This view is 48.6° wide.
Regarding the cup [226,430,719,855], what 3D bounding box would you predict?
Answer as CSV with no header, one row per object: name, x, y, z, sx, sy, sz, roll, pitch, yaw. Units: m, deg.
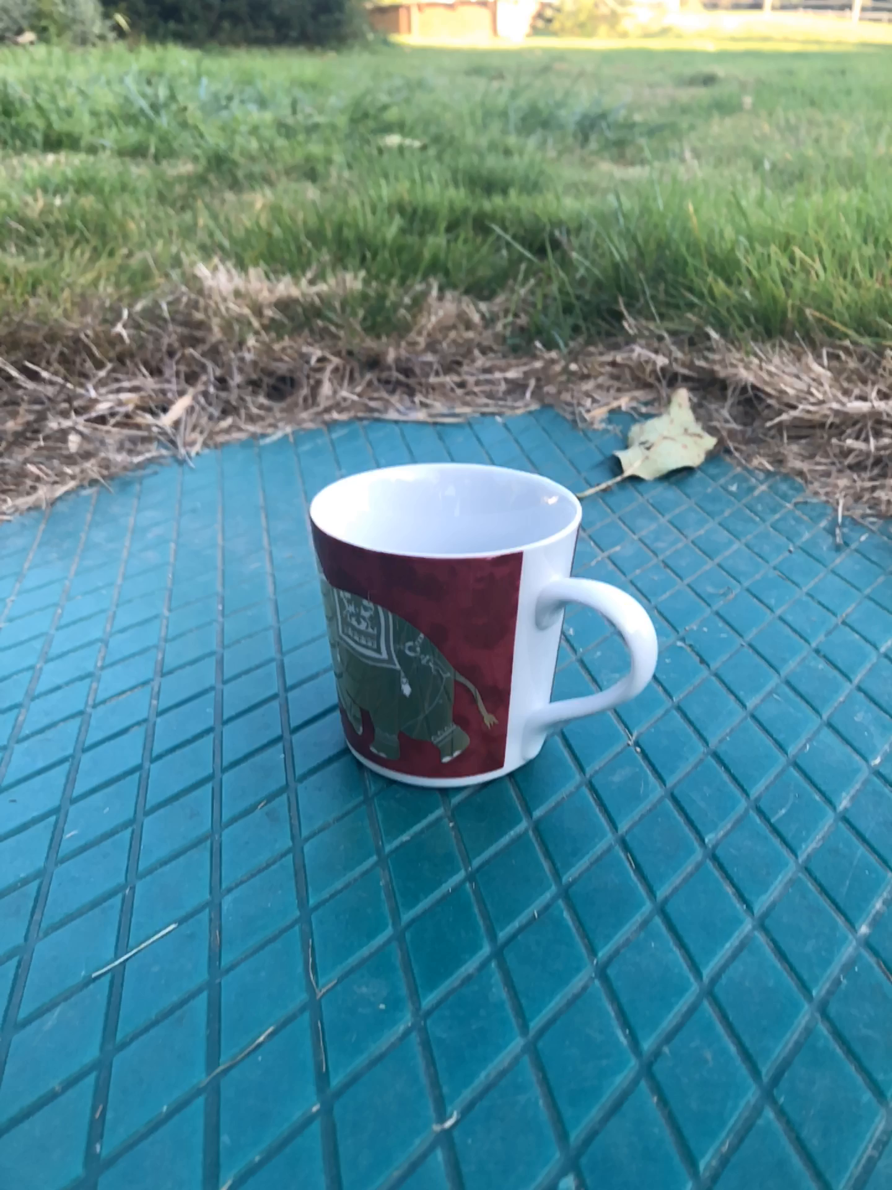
cup,0.007,0.004,0.288,0.110,0.070,0.082,18,30,35
